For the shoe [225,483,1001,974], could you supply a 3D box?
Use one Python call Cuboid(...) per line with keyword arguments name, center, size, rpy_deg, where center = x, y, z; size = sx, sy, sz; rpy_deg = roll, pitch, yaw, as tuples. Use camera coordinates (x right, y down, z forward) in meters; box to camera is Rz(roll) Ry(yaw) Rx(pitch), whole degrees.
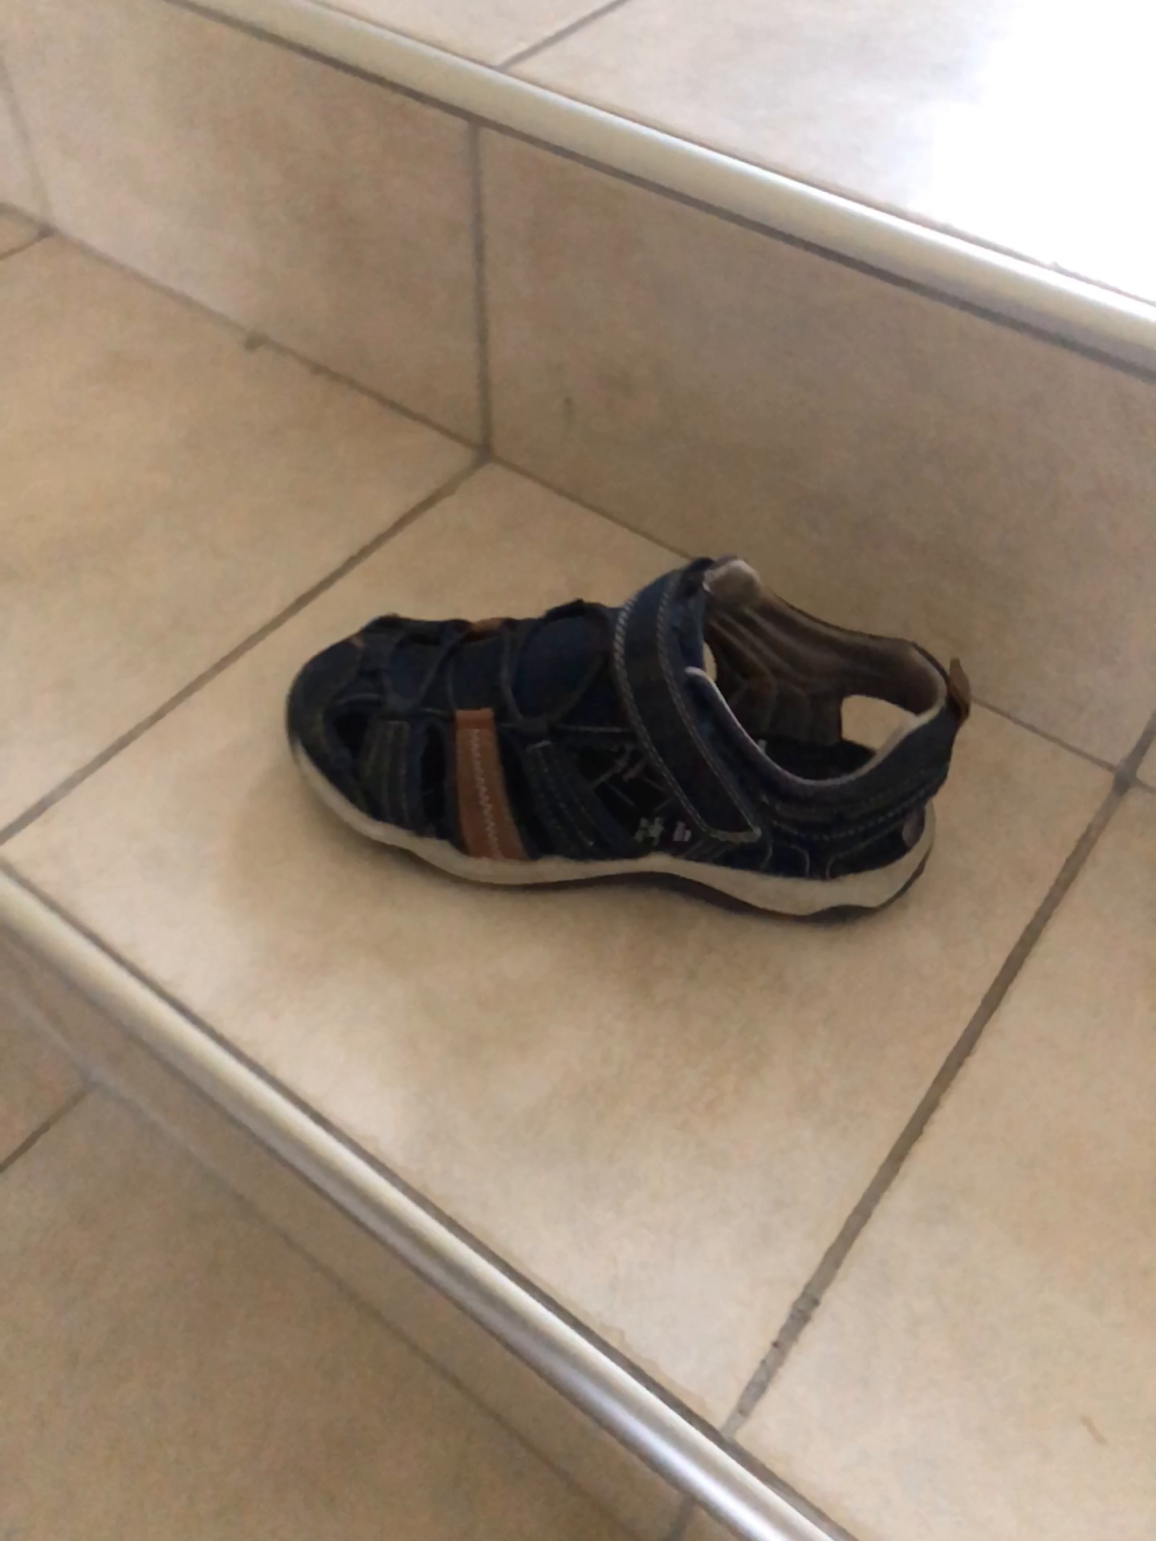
Cuboid(name="shoe", center=(0.014, -0.014, 0.423), size=(0.220, 0.099, 0.091), rpy_deg=(8, 52, 6))
